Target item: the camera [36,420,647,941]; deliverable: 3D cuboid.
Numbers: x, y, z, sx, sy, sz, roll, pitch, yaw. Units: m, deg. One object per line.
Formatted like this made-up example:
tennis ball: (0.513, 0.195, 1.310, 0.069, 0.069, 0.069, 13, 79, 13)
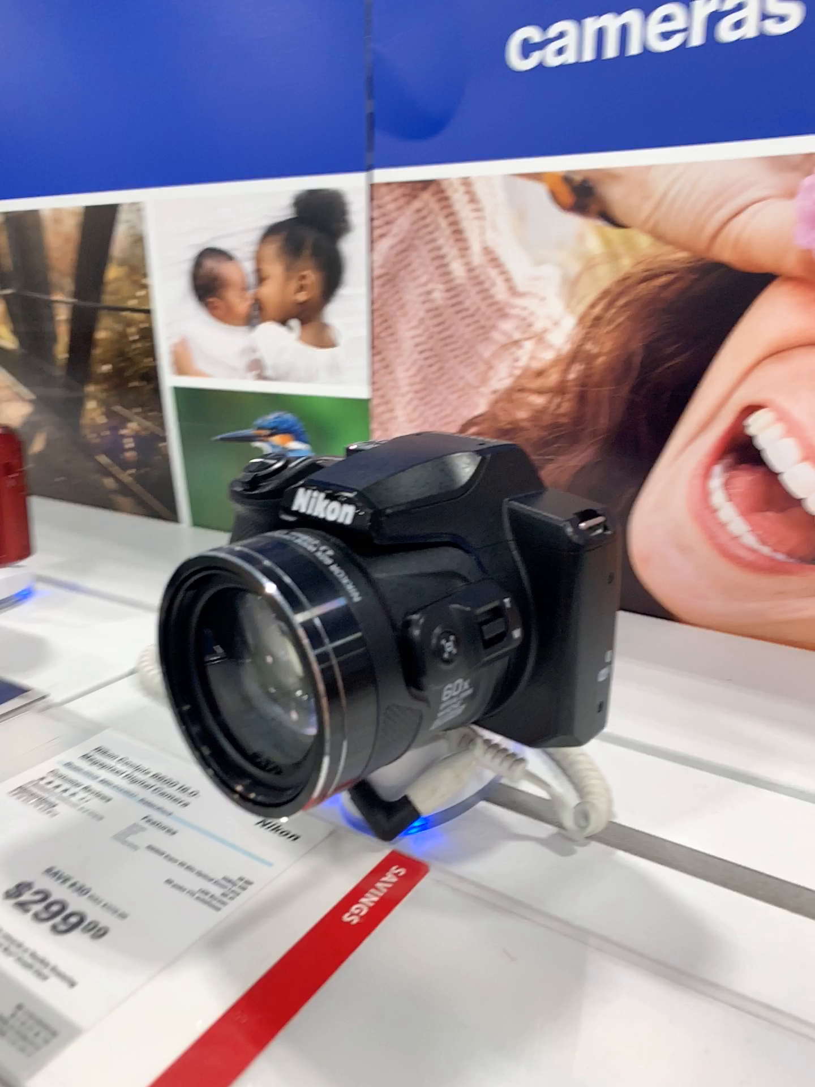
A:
camera: (-0.018, 0.017, 0.226, 0.120, 0.080, 0.100, 14, 19, 38)
